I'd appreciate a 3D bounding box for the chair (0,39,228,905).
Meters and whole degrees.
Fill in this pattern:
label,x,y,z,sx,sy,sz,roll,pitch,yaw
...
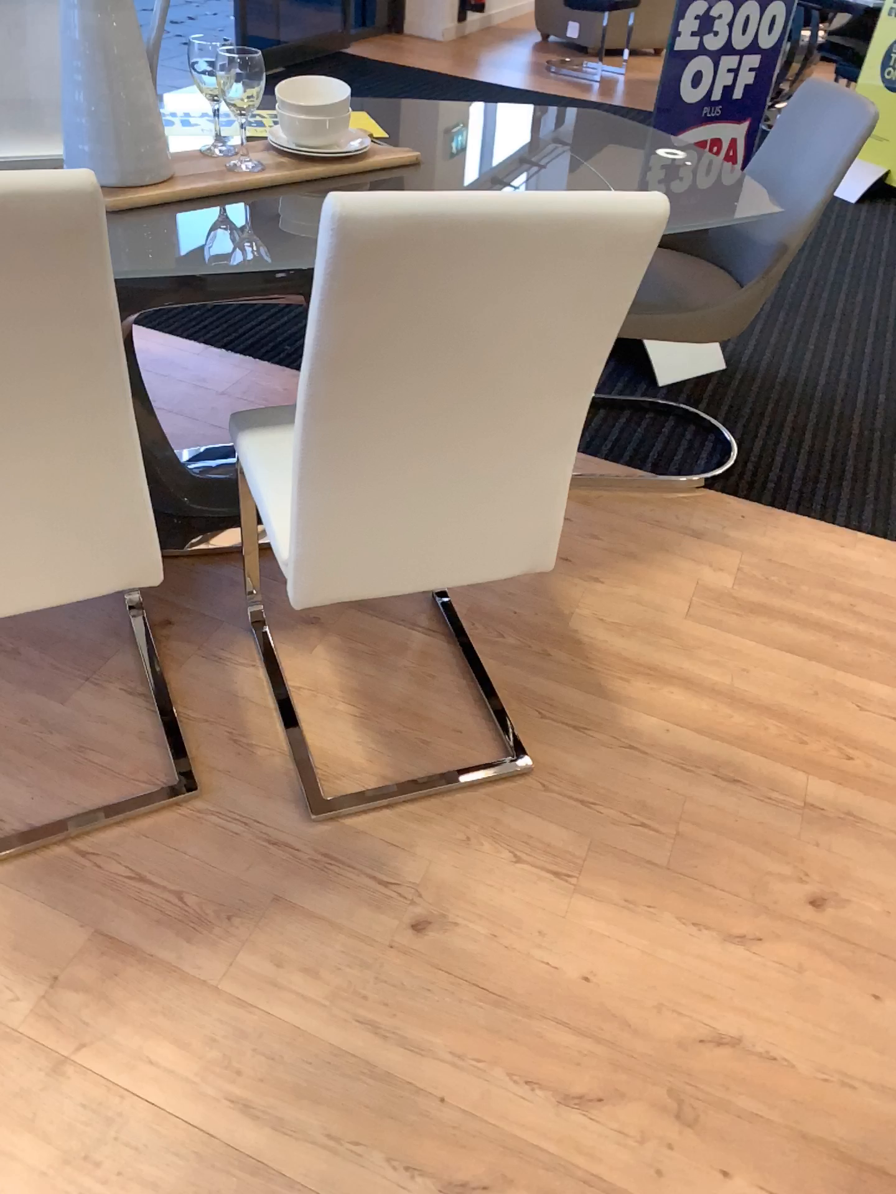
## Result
label,x,y,z,sx,sy,sz,roll,pitch,yaw
chair,-0.609,-0.146,1.209,0.433,0.932,0.529,-14,44,-23

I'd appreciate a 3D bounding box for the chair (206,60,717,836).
label,x,y,z,sx,sy,sz,roll,pitch,yaw
chair,-0.059,-0.198,1.336,0.422,0.922,0.539,-10,42,-19
